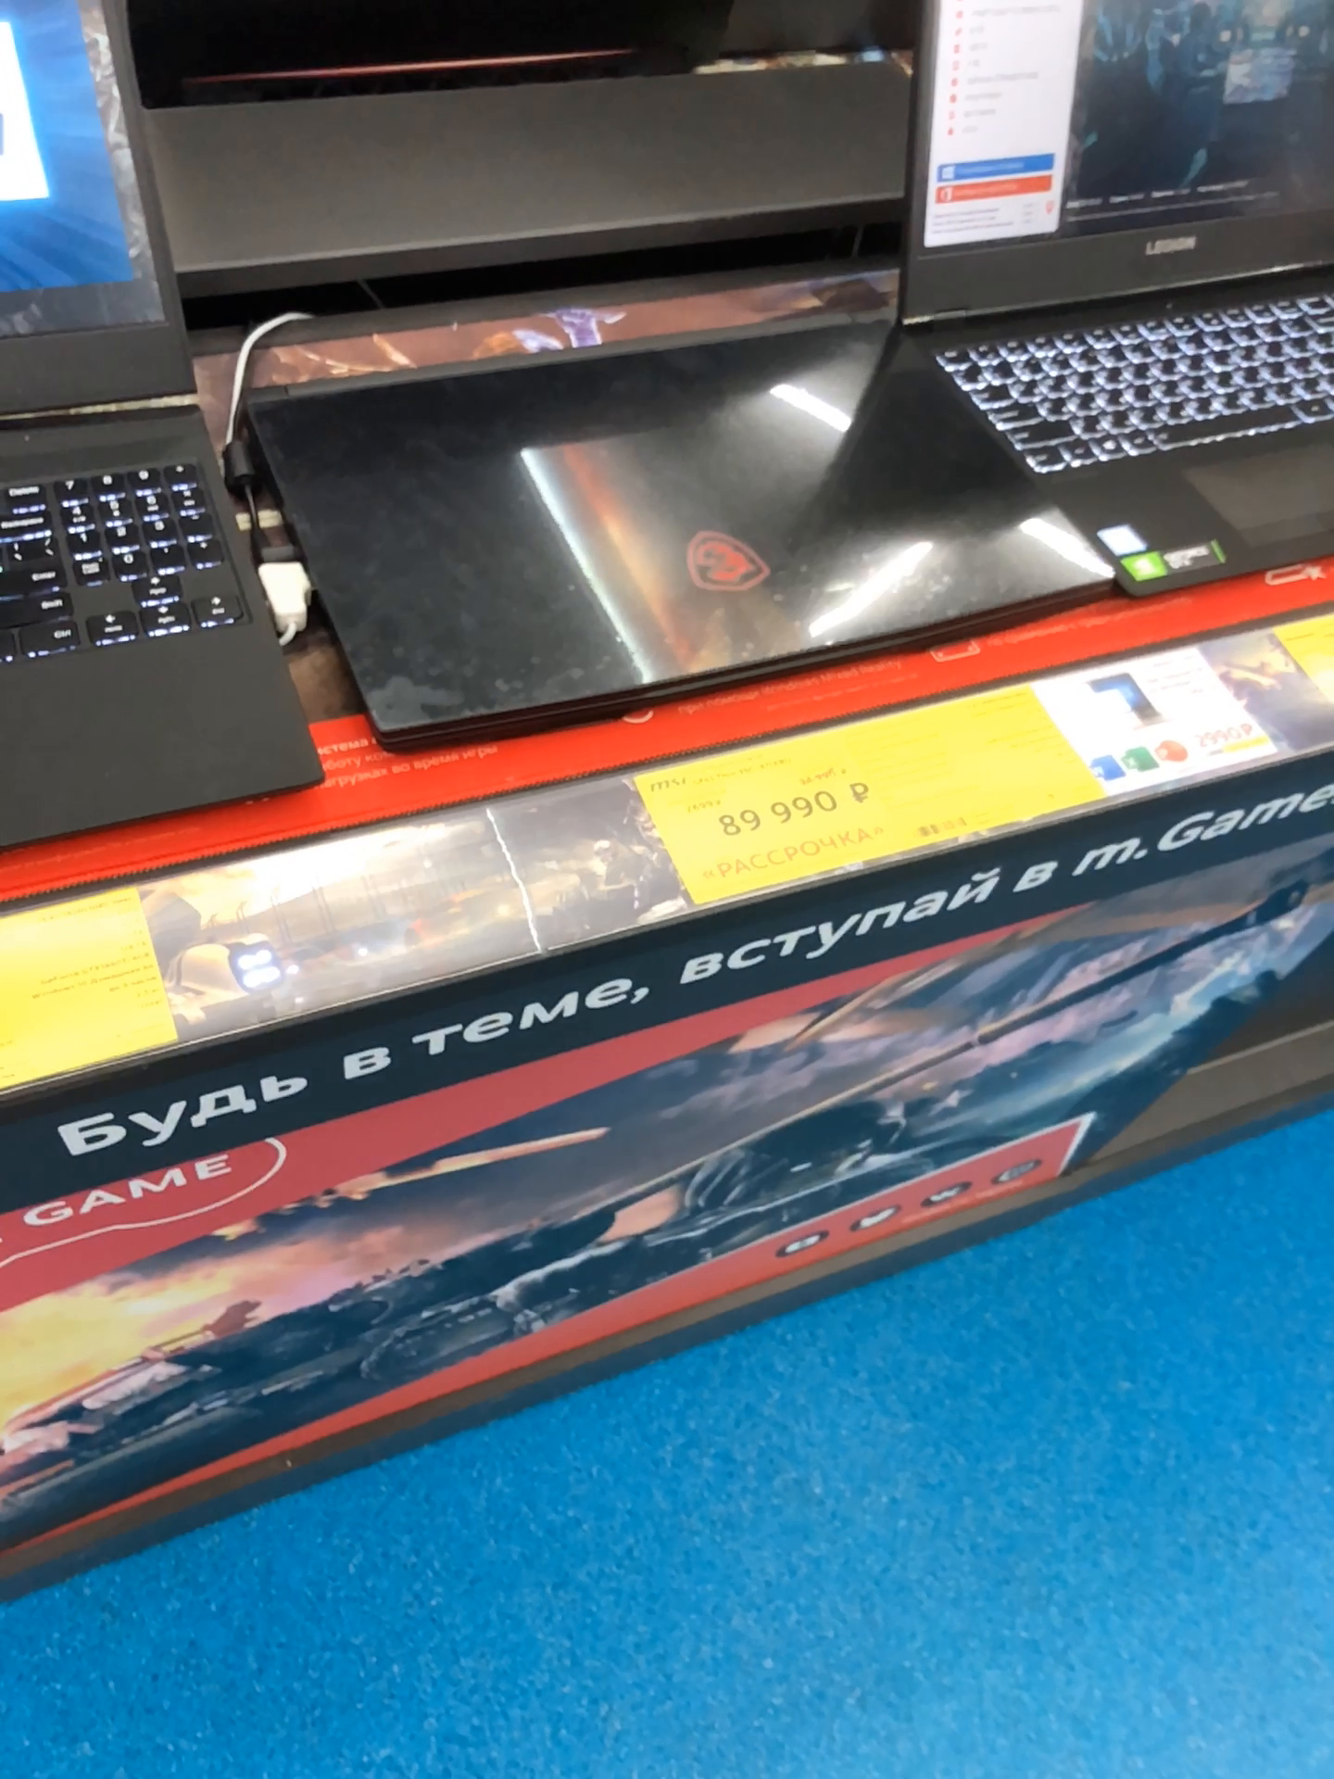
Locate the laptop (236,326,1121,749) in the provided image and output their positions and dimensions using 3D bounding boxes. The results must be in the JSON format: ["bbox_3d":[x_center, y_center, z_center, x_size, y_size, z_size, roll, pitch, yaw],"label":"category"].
[{"bbox_3d":[0.001,-0.184,0.700,0.353,0.002,0.239,-15,54,-18],"label":"laptop"}]
